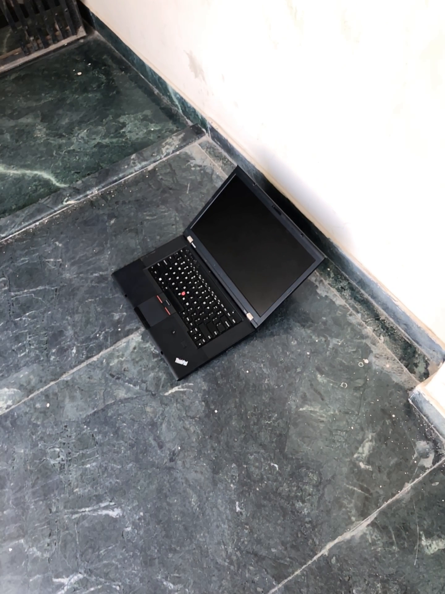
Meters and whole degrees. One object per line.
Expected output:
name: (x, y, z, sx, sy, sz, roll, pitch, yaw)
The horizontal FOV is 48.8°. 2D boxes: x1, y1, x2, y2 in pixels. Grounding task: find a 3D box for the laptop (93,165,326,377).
laptop: (-0.029, -0.069, 1.063, 0.375, 0.115, 0.311, -31, 61, -12)
